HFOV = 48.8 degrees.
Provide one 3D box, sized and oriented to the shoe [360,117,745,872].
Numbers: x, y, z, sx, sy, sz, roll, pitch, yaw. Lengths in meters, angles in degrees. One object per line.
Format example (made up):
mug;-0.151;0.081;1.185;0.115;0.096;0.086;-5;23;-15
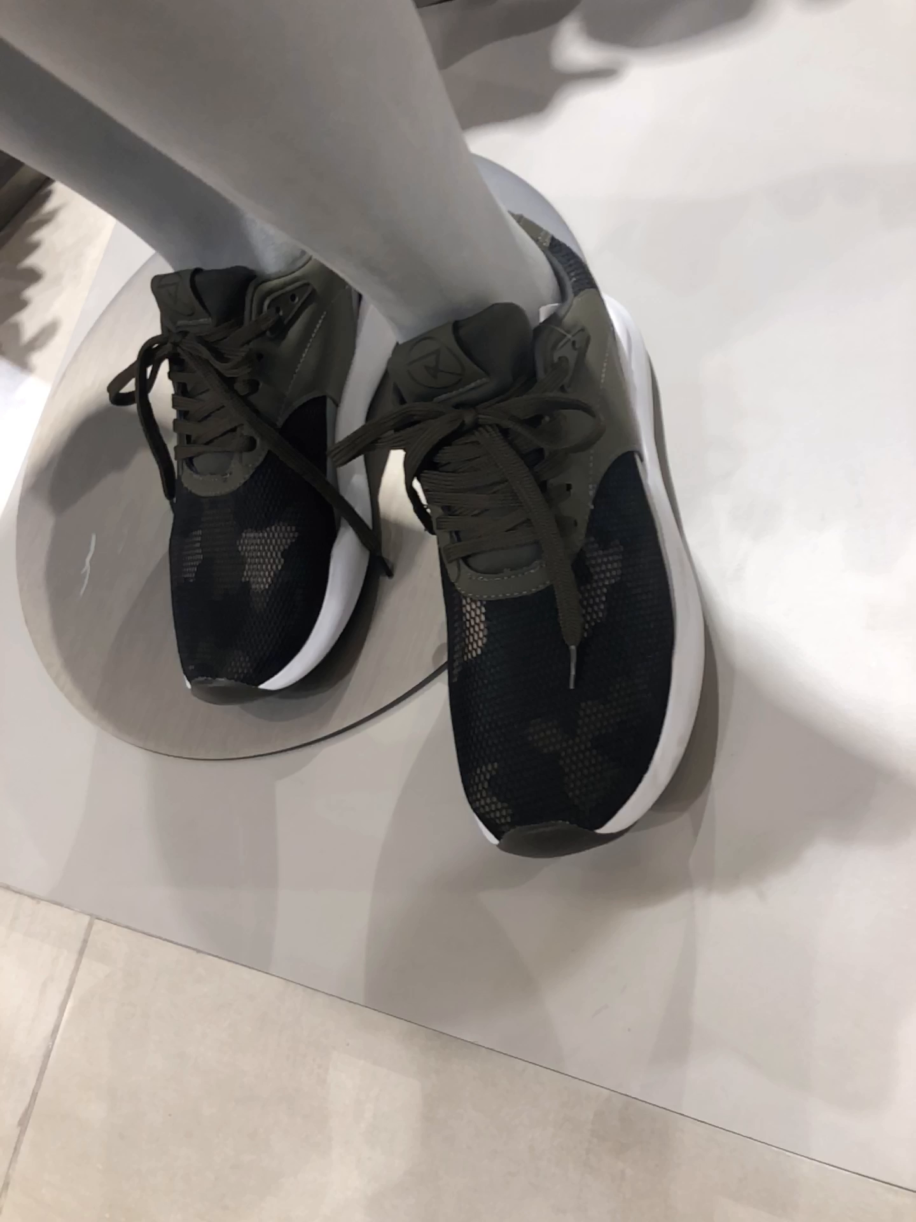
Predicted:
shoe;0.036;-0.045;0.426;0.110;0.110;0.281;-12;65;22

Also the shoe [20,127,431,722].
shoe;-0.103;-0.087;0.512;0.100;0.120;0.260;-1;69;26
